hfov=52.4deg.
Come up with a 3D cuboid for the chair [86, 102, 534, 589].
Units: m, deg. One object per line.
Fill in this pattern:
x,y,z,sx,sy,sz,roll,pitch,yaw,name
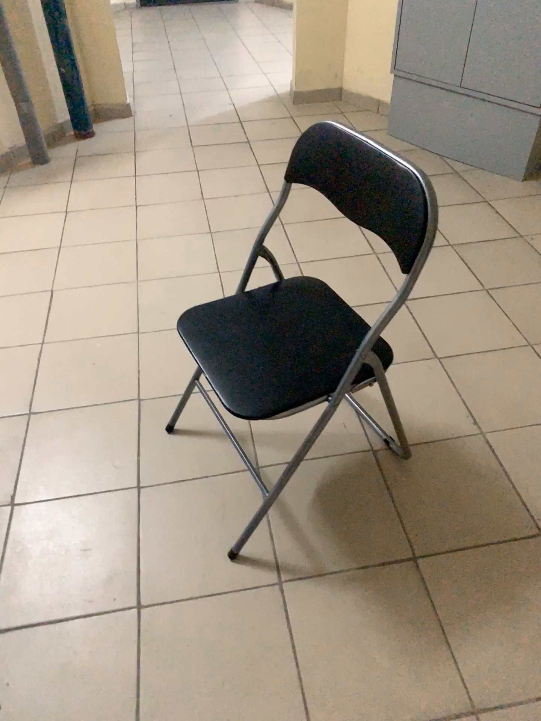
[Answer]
0.033,-0.050,1.189,0.560,0.727,0.572,-19,45,-19,chair
